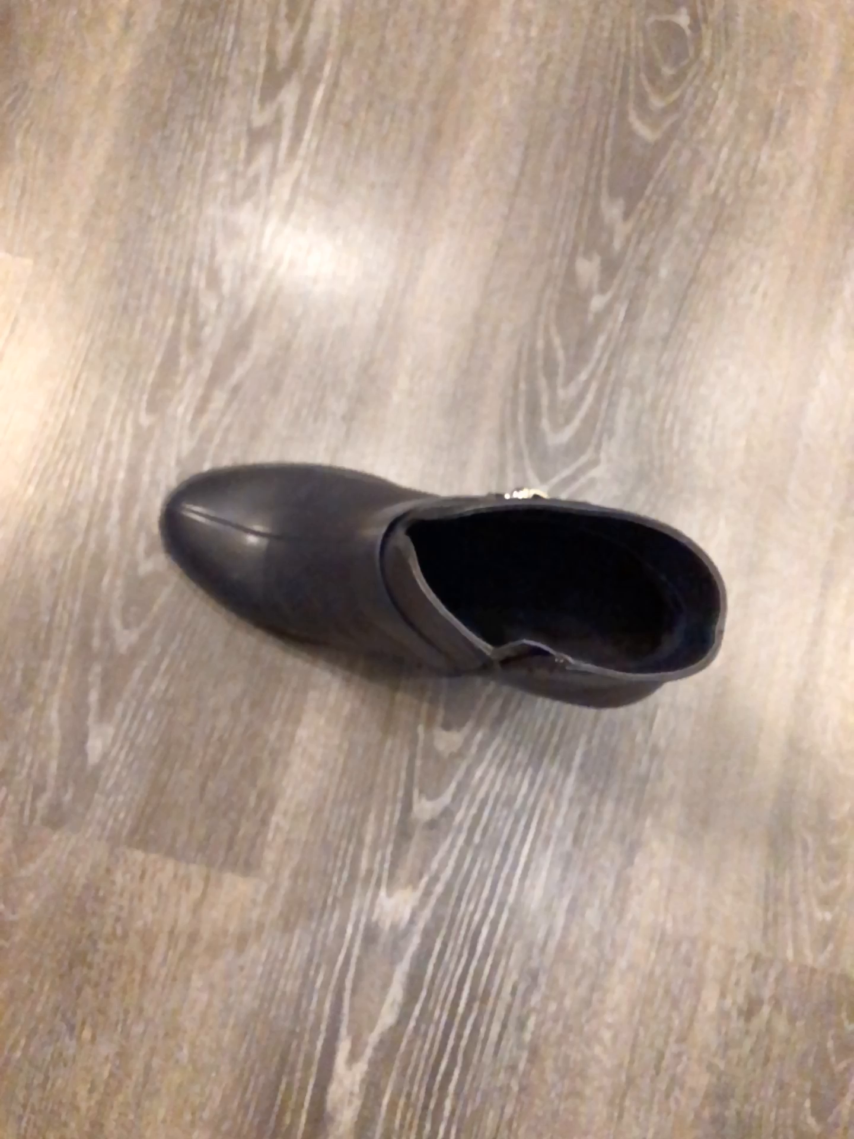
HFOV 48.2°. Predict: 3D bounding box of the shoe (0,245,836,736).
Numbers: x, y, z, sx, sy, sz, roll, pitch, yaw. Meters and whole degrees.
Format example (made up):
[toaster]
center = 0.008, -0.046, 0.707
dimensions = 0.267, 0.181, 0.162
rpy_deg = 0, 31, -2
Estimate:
[shoe]
center = -0.007, -0.011, 0.382
dimensions = 0.240, 0.190, 0.090
rpy_deg = 15, 81, -4
